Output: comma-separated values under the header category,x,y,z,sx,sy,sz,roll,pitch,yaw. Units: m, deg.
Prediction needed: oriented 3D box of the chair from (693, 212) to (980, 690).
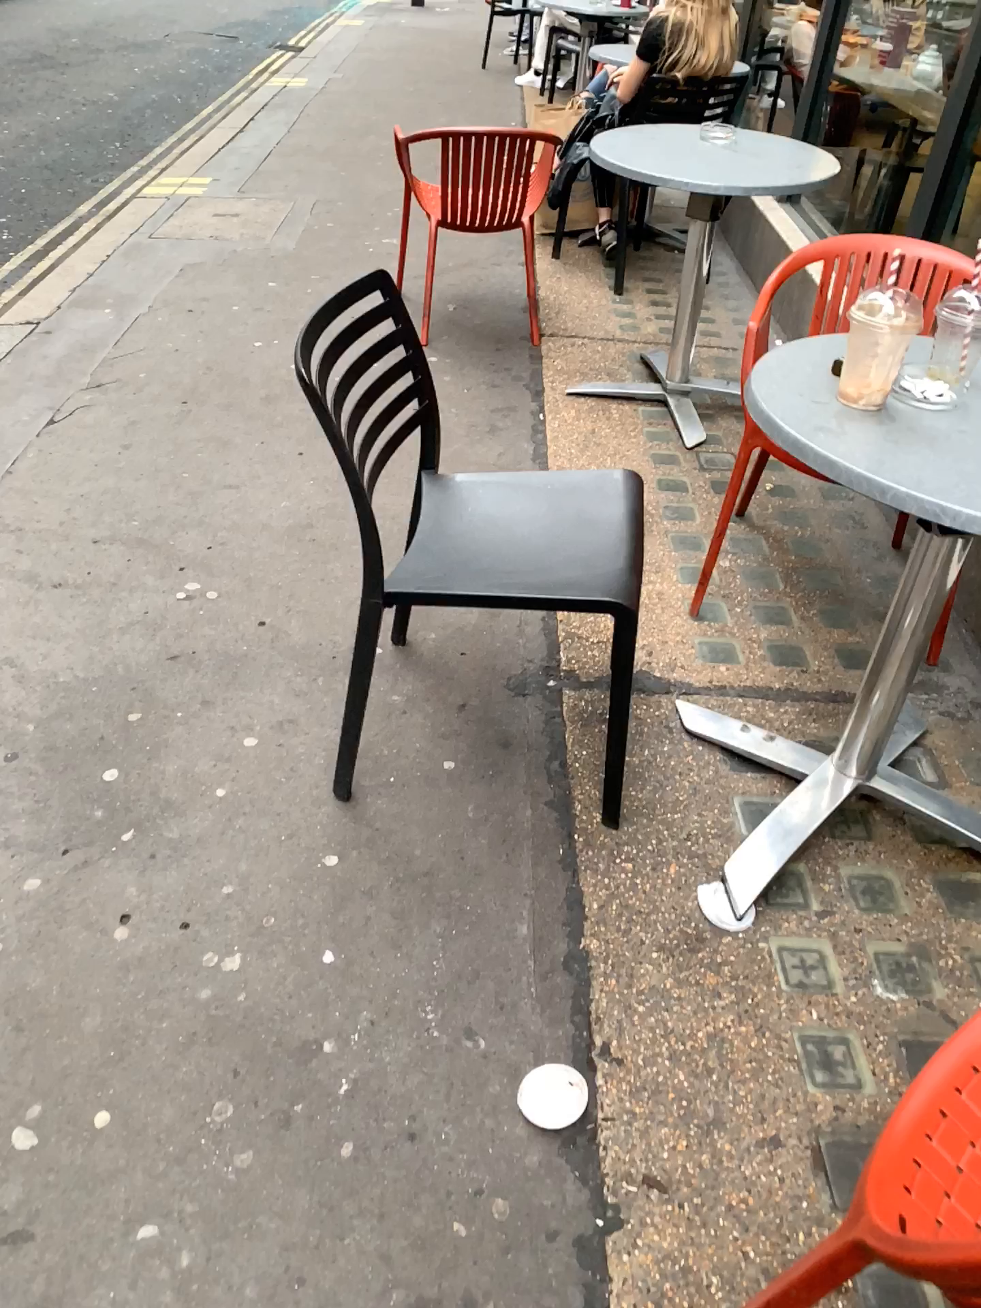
category,x,y,z,sx,sy,sz,roll,pitch,yaw
chair,0.839,-0.467,2.203,0.570,0.743,0.646,13,38,9

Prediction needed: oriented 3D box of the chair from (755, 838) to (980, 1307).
category,x,y,z,sx,sy,sz,roll,pitch,yaw
chair,0.763,0.756,0.724,0.642,0.772,0.704,-23,46,-32

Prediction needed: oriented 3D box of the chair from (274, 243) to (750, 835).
category,x,y,z,sx,sy,sz,roll,pitch,yaw
chair,0.023,-0.196,1.693,0.600,0.752,0.556,7,37,2
